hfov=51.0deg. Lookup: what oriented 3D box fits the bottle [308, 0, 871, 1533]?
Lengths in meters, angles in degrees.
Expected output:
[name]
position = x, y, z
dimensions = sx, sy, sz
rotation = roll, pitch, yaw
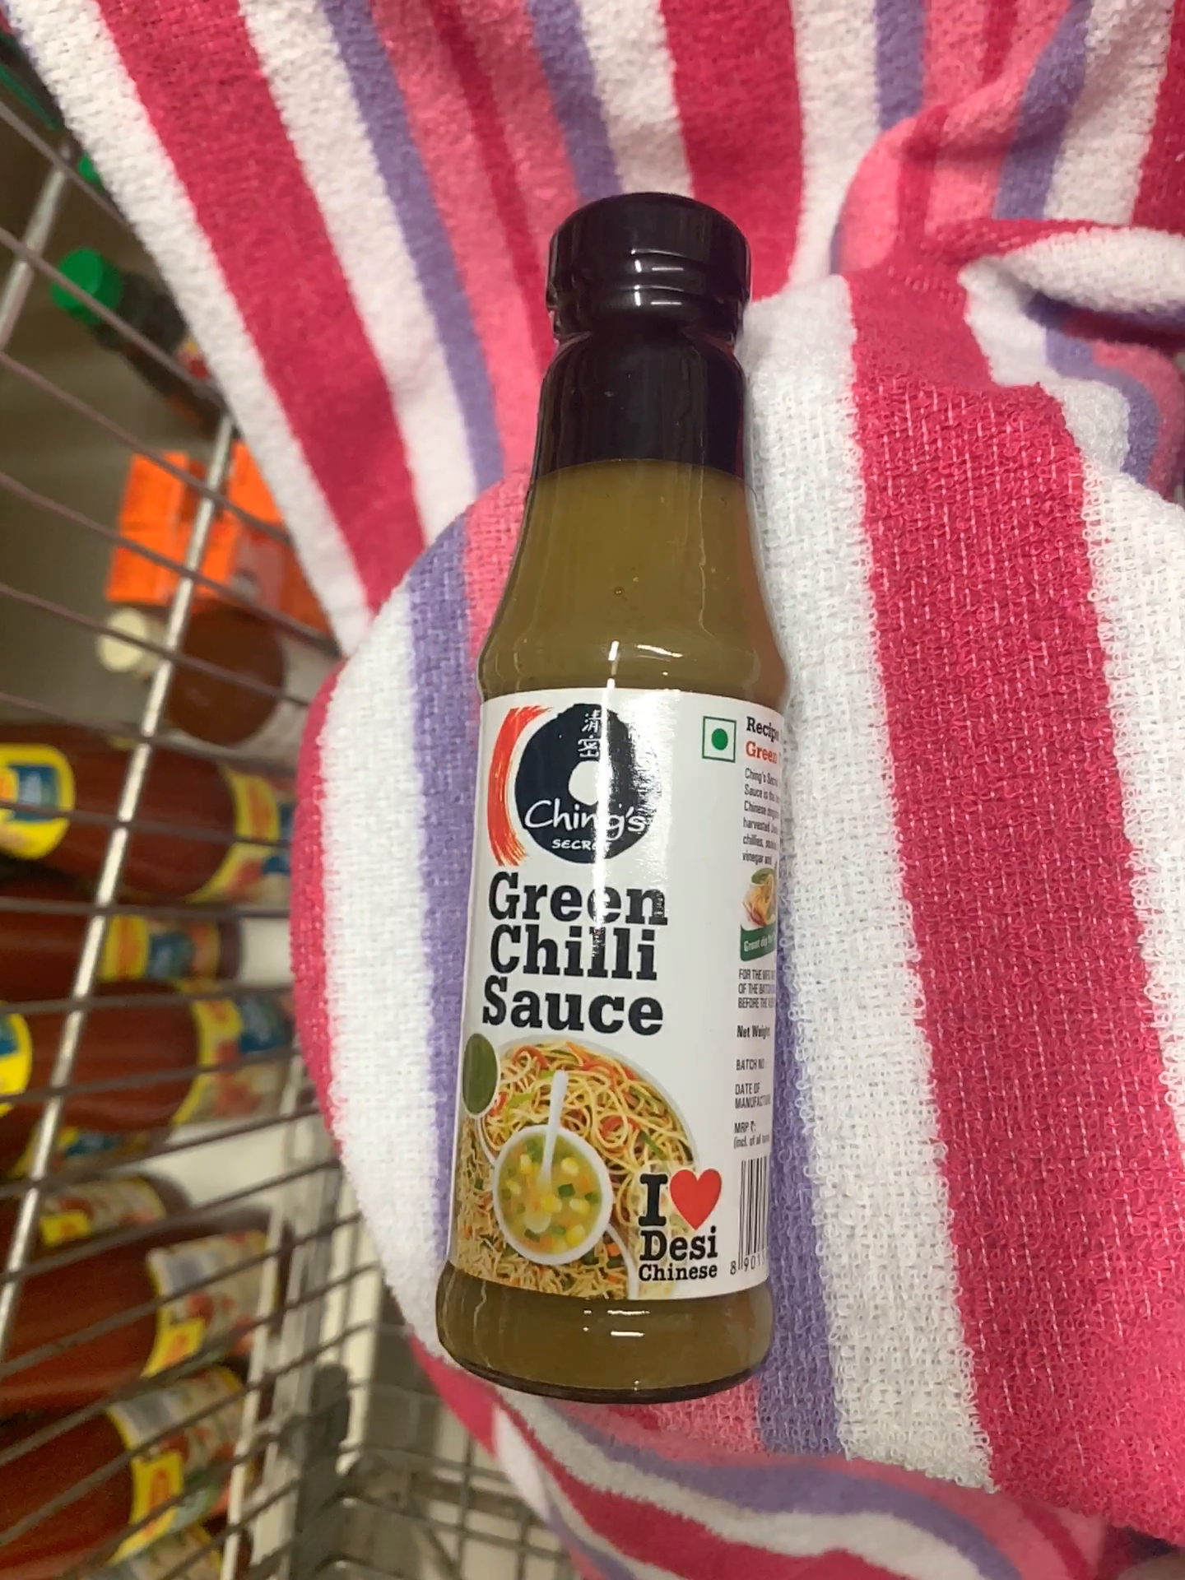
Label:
[bottle]
position = 0.005, -0.009, 0.164
dimensions = 0.050, 0.050, 0.170
rotation = -1, 80, 25
